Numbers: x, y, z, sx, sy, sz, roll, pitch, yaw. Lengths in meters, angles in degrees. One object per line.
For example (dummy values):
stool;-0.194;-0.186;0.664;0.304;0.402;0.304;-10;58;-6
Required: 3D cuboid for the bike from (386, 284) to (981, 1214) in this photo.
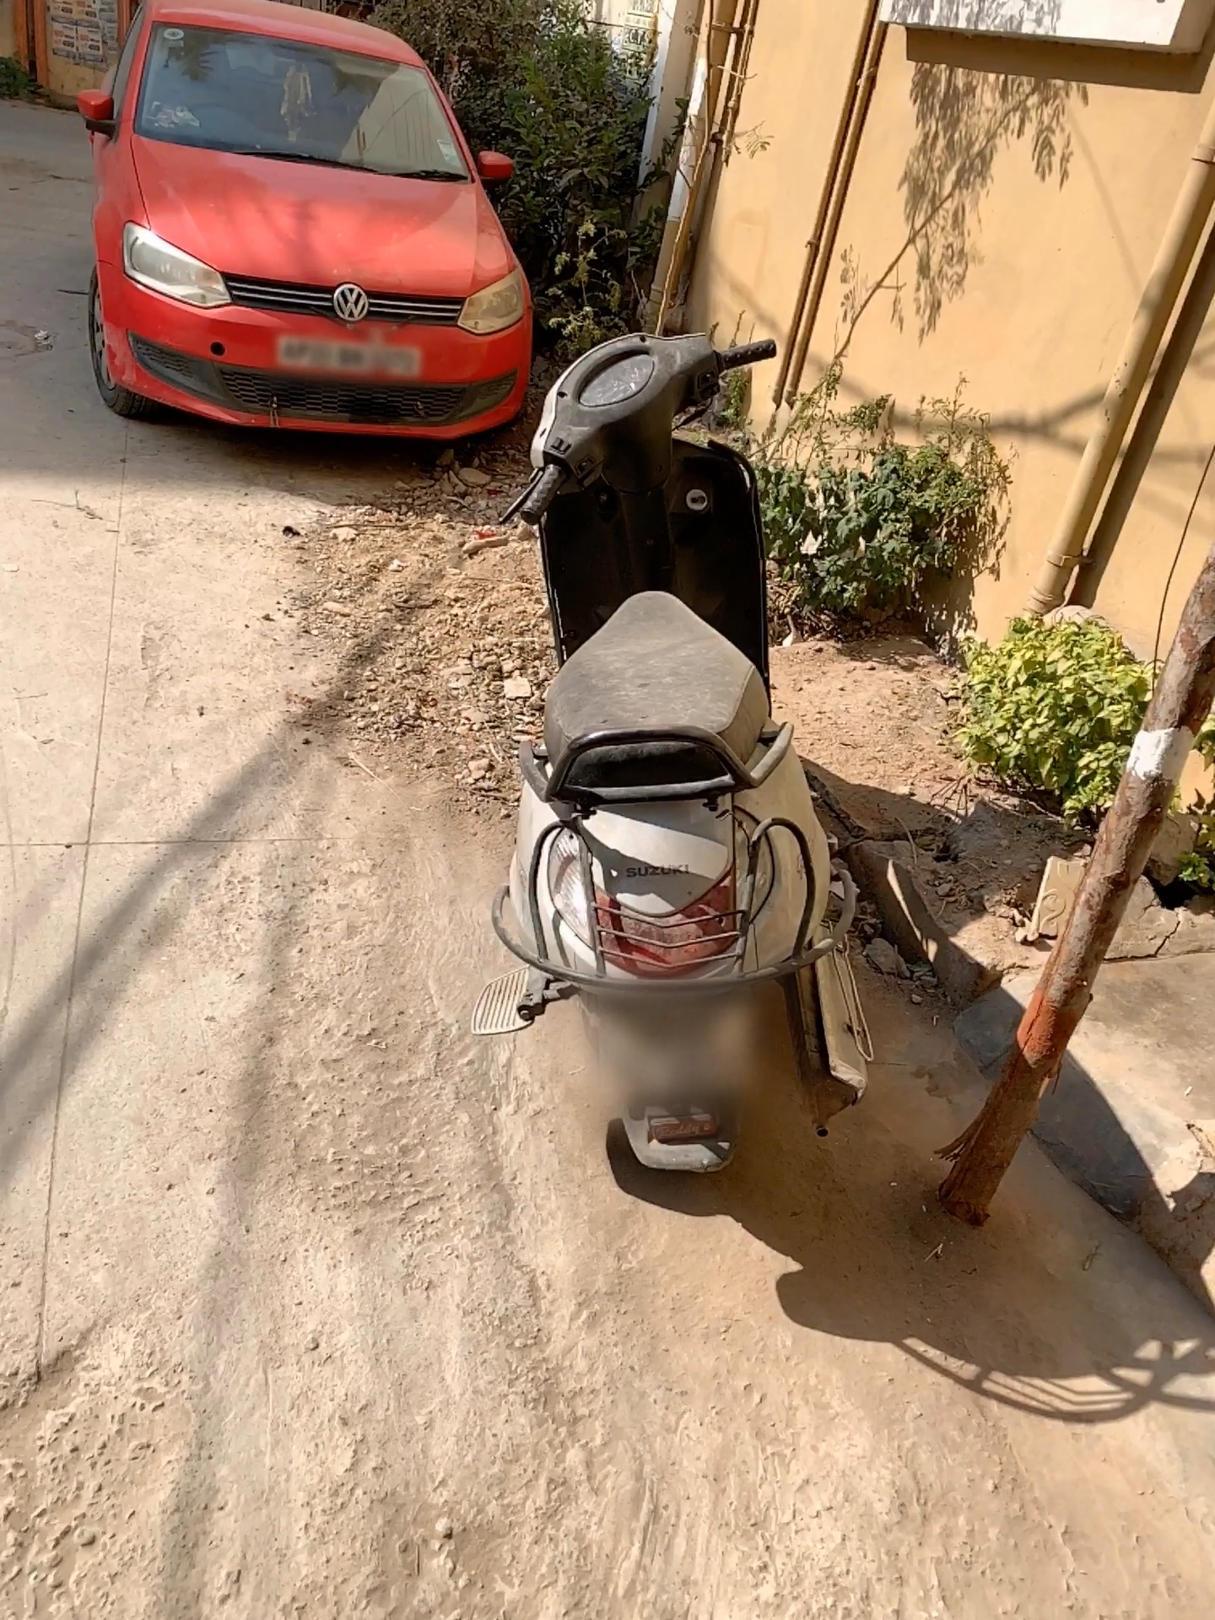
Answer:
bike;0.052;-0.247;2.183;0.549;1.001;1.516;8;30;-4
